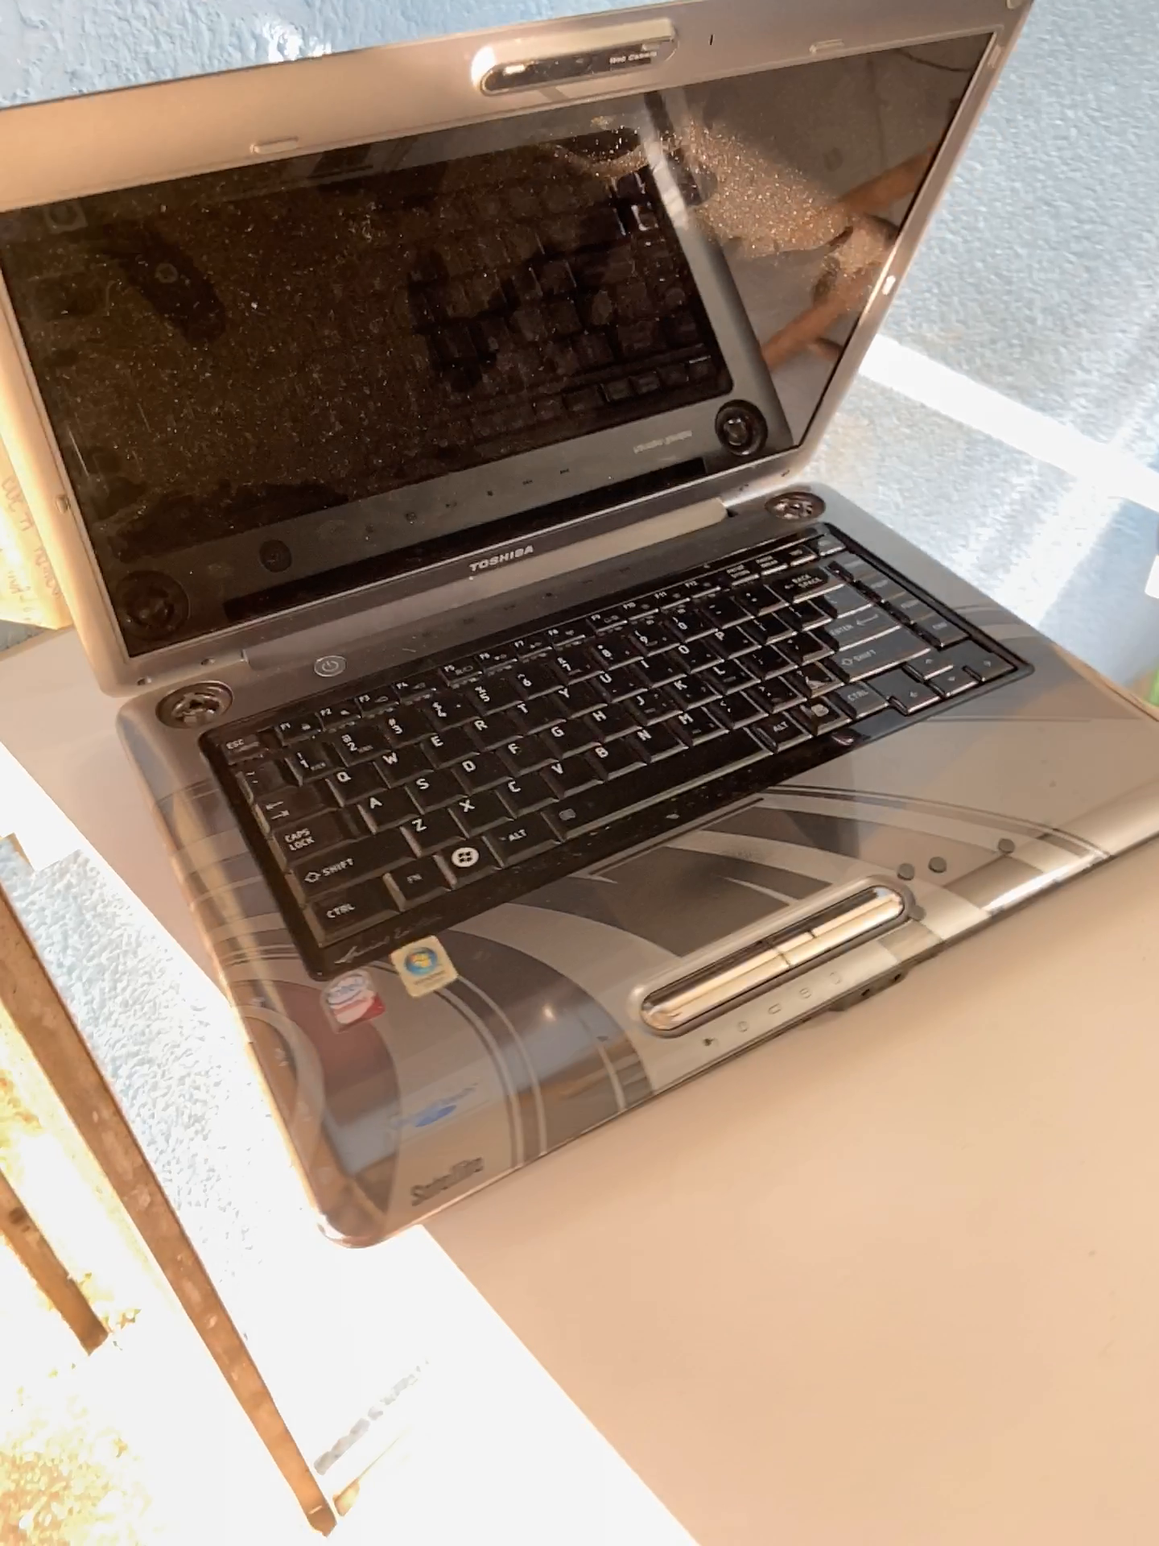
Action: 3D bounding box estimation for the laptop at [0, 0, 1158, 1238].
[{"bbox_3d":[0.026,-0.099,0.392,0.359,0.235,0.259,-22,45,-20],"label":"laptop"}]
